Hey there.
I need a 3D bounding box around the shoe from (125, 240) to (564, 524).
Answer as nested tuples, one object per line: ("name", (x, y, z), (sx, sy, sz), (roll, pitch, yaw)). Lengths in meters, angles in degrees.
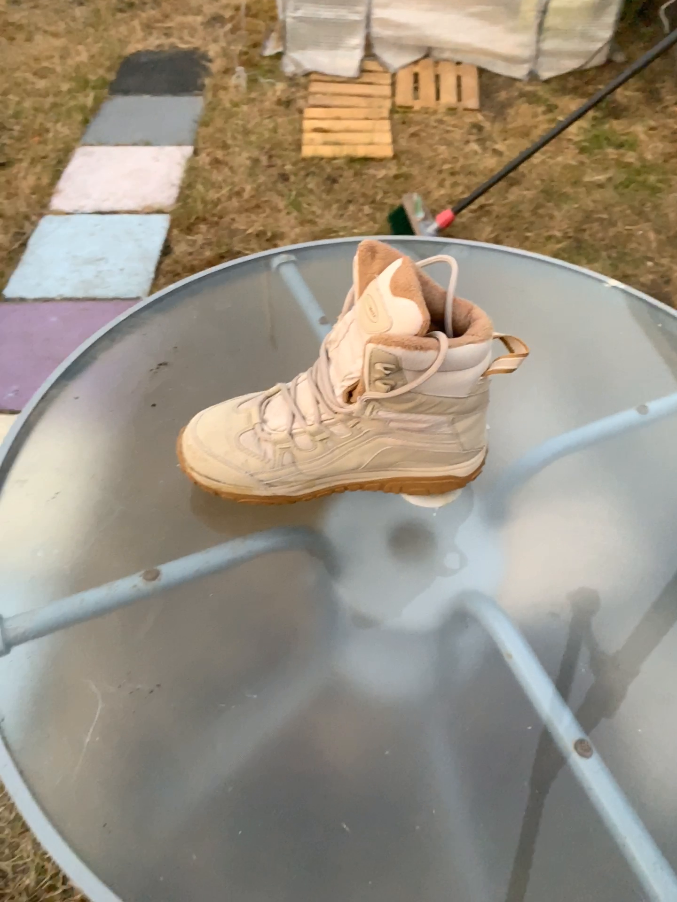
("shoe", (0.003, -0.048, 0.556), (0.280, 0.198, 0.121), (0, 49, -1))
